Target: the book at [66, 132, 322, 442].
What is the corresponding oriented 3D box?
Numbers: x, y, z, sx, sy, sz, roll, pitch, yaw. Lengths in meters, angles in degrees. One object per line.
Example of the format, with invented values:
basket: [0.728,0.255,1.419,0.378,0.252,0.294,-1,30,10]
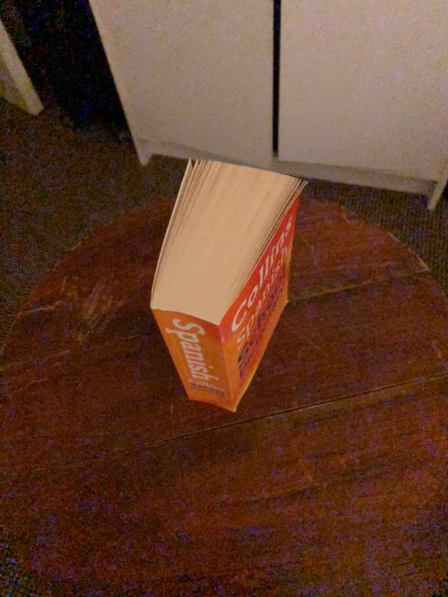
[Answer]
book: [-0.001,-0.002,0.316,0.080,0.149,0.141,16,65,25]
